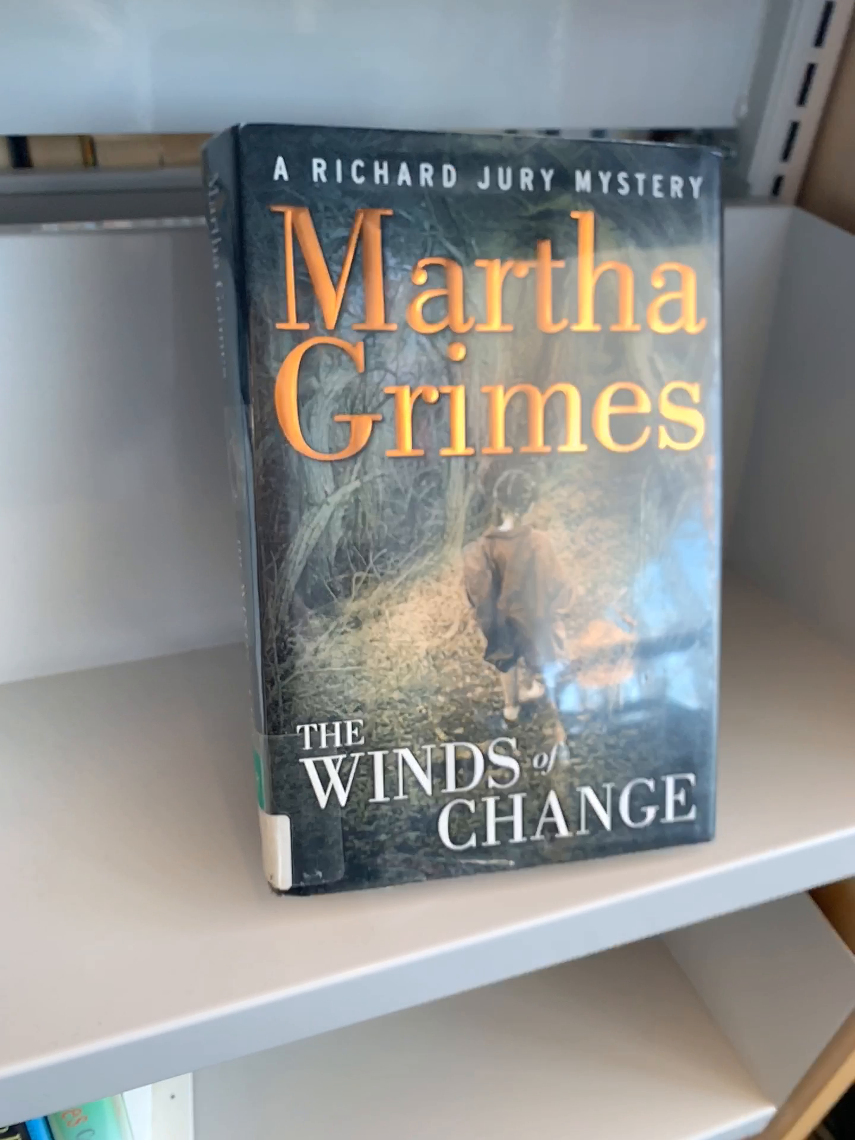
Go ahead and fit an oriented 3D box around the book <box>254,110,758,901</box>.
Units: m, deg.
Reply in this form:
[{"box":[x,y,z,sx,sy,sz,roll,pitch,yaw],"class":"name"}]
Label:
[{"box":[0.029,-0.022,0.315,0.160,0.244,0.050,-4,8,-11],"class":"book"}]
